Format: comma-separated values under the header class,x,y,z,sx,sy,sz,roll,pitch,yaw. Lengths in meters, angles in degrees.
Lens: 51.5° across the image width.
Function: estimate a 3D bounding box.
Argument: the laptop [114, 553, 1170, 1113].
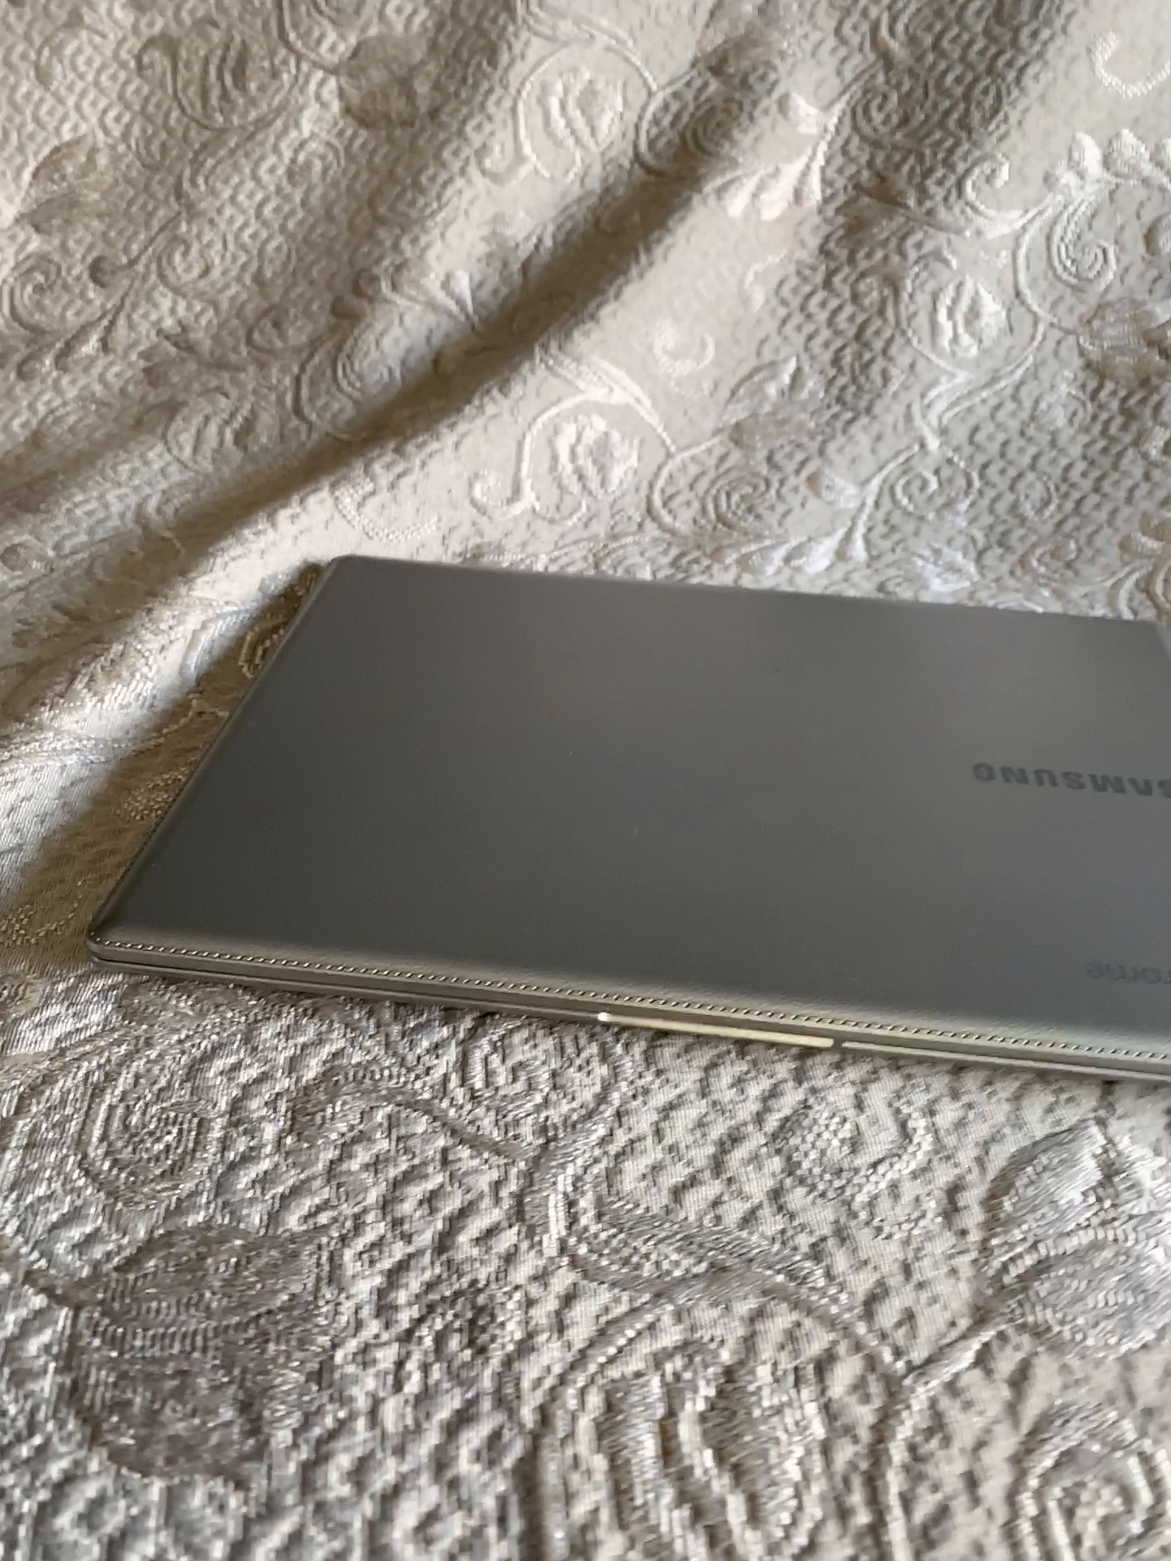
class,x,y,z,sx,sy,sz,roll,pitch,yaw
laptop,0.039,-0.003,0.320,0.264,0.005,0.176,5,40,4
